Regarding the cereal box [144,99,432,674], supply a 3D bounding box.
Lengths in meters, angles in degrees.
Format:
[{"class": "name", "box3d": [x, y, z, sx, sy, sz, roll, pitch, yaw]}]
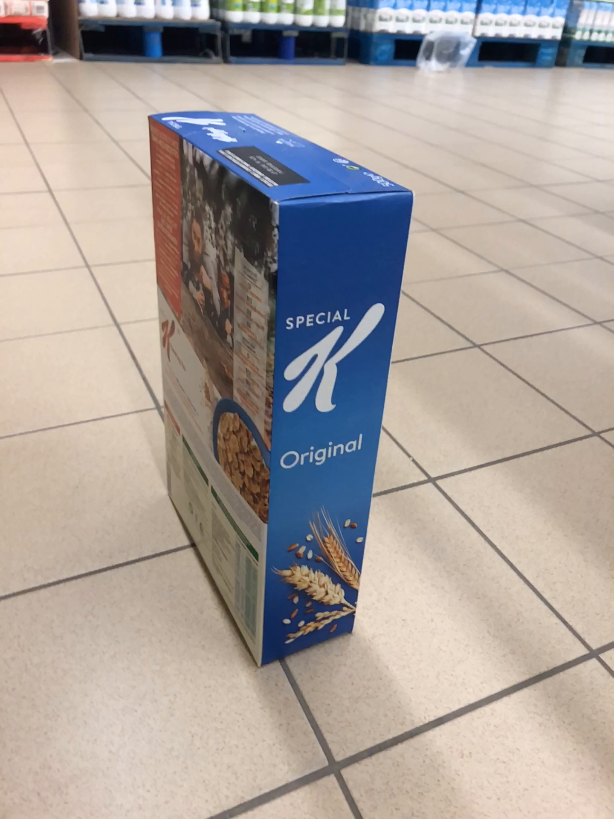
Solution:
[{"class": "cereal box", "box3d": [-0.033, -0.021, 0.438, 0.070, 0.298, 0.211, -12, 35, -24]}]
